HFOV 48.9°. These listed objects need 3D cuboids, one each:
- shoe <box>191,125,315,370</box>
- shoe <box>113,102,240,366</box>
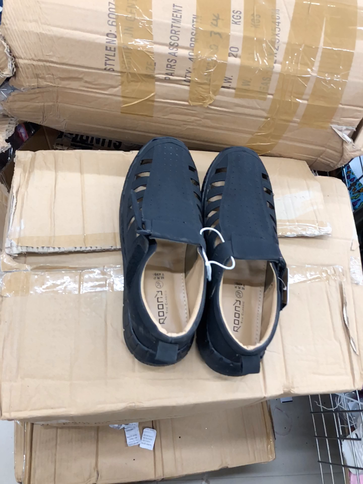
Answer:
[{"bbox_3d":[0.071,0.006,0.479,0.100,0.100,0.271,5,65,-11],"label":"shoe"},{"bbox_3d":[-0.020,-0.012,0.458,0.110,0.100,0.281,1,66,-13],"label":"shoe"}]
